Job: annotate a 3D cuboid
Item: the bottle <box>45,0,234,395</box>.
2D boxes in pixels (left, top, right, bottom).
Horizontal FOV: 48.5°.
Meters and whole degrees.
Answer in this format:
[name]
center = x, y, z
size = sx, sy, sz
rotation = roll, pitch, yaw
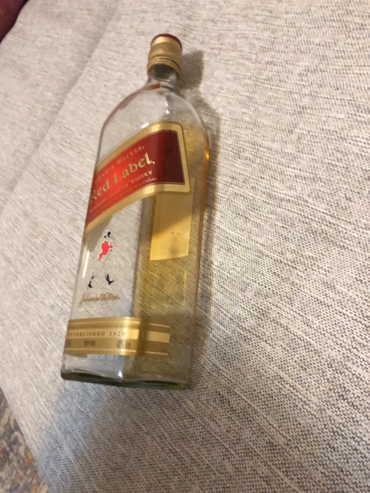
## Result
[bottle]
center = -0.025, -0.055, 0.316
size = 0.090, 0.070, 0.310
rotation = -8, 70, 36
